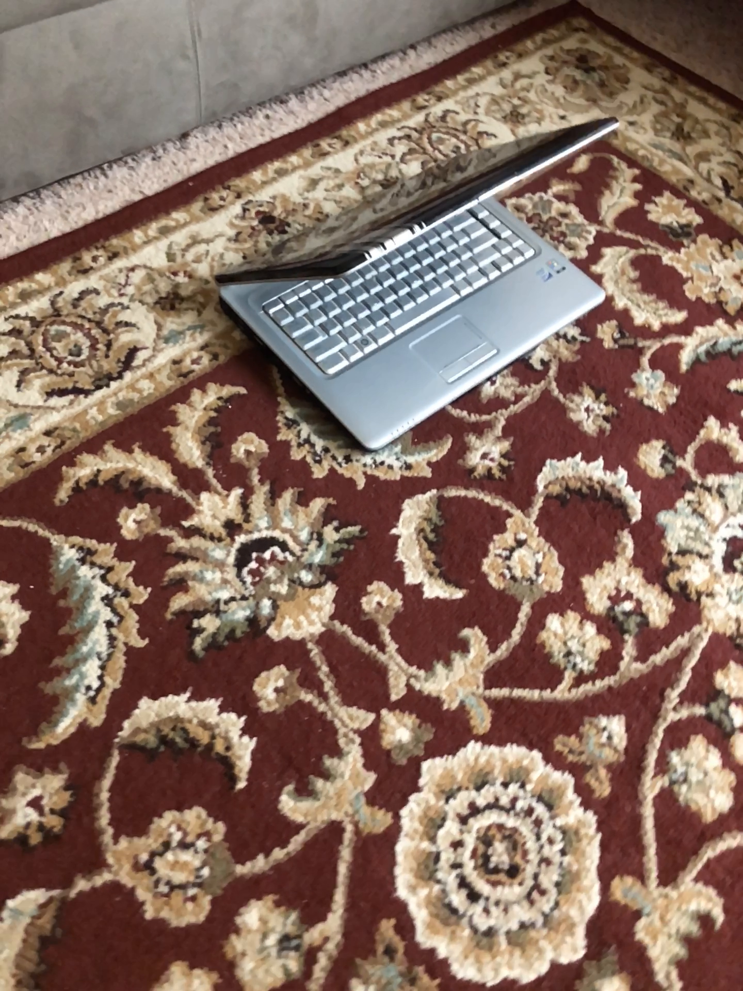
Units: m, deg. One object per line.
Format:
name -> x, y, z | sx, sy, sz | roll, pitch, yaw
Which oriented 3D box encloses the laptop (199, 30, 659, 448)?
laptop -> 0.052, -0.260, 0.794 | 0.342, 0.164, 0.244 | -35, 69, -25
